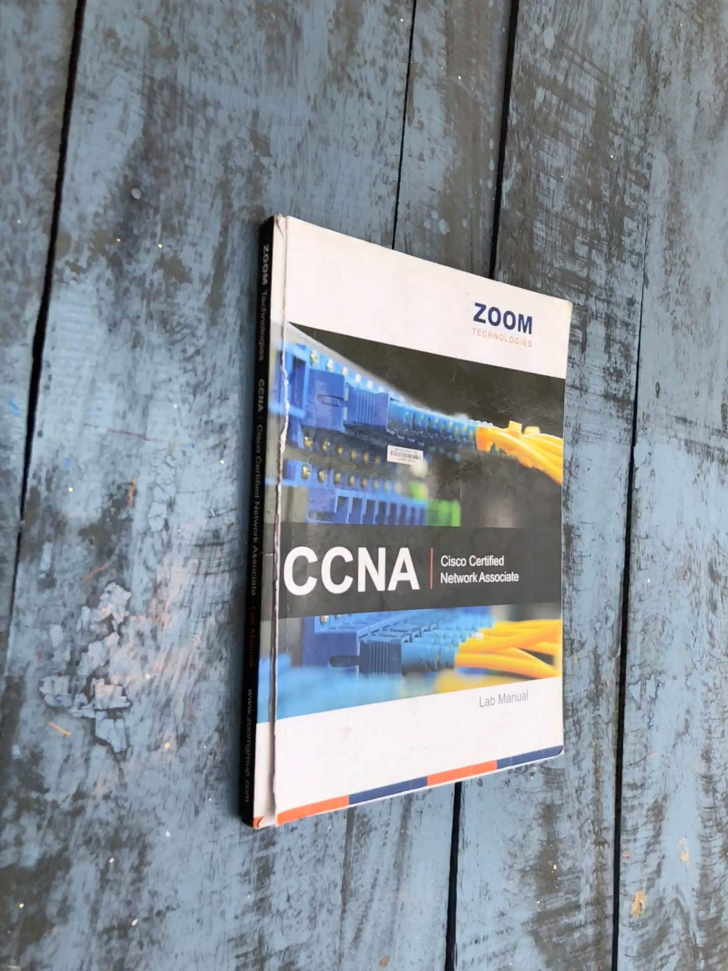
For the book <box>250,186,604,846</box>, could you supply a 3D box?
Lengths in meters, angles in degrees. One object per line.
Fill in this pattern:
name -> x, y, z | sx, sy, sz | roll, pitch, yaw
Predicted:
book -> 0.041, 0.014, 0.390 | 0.201, 0.030, 0.260 | 3, 84, -38
